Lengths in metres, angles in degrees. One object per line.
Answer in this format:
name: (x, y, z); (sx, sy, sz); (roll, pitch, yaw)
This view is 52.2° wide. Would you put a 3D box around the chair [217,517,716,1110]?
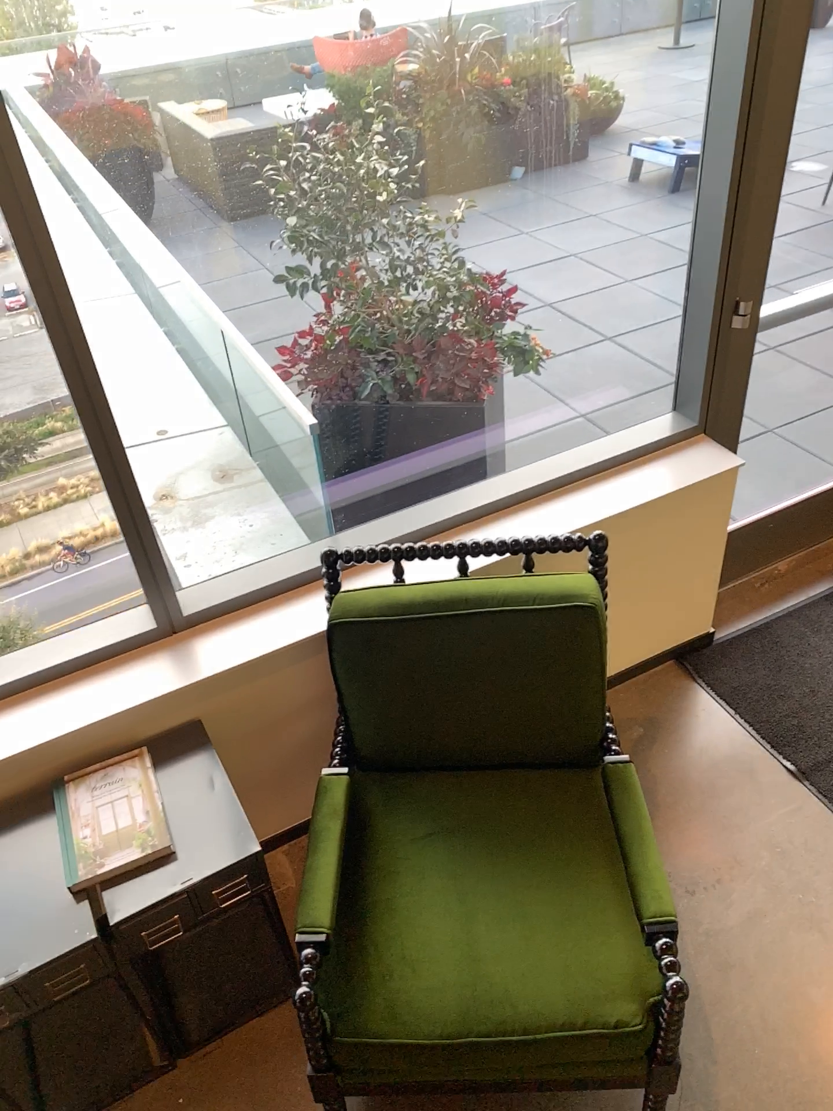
chair: (0.120, 0.605, 1.962); (0.760, 0.983, 0.926); (-3, 39, 4)
